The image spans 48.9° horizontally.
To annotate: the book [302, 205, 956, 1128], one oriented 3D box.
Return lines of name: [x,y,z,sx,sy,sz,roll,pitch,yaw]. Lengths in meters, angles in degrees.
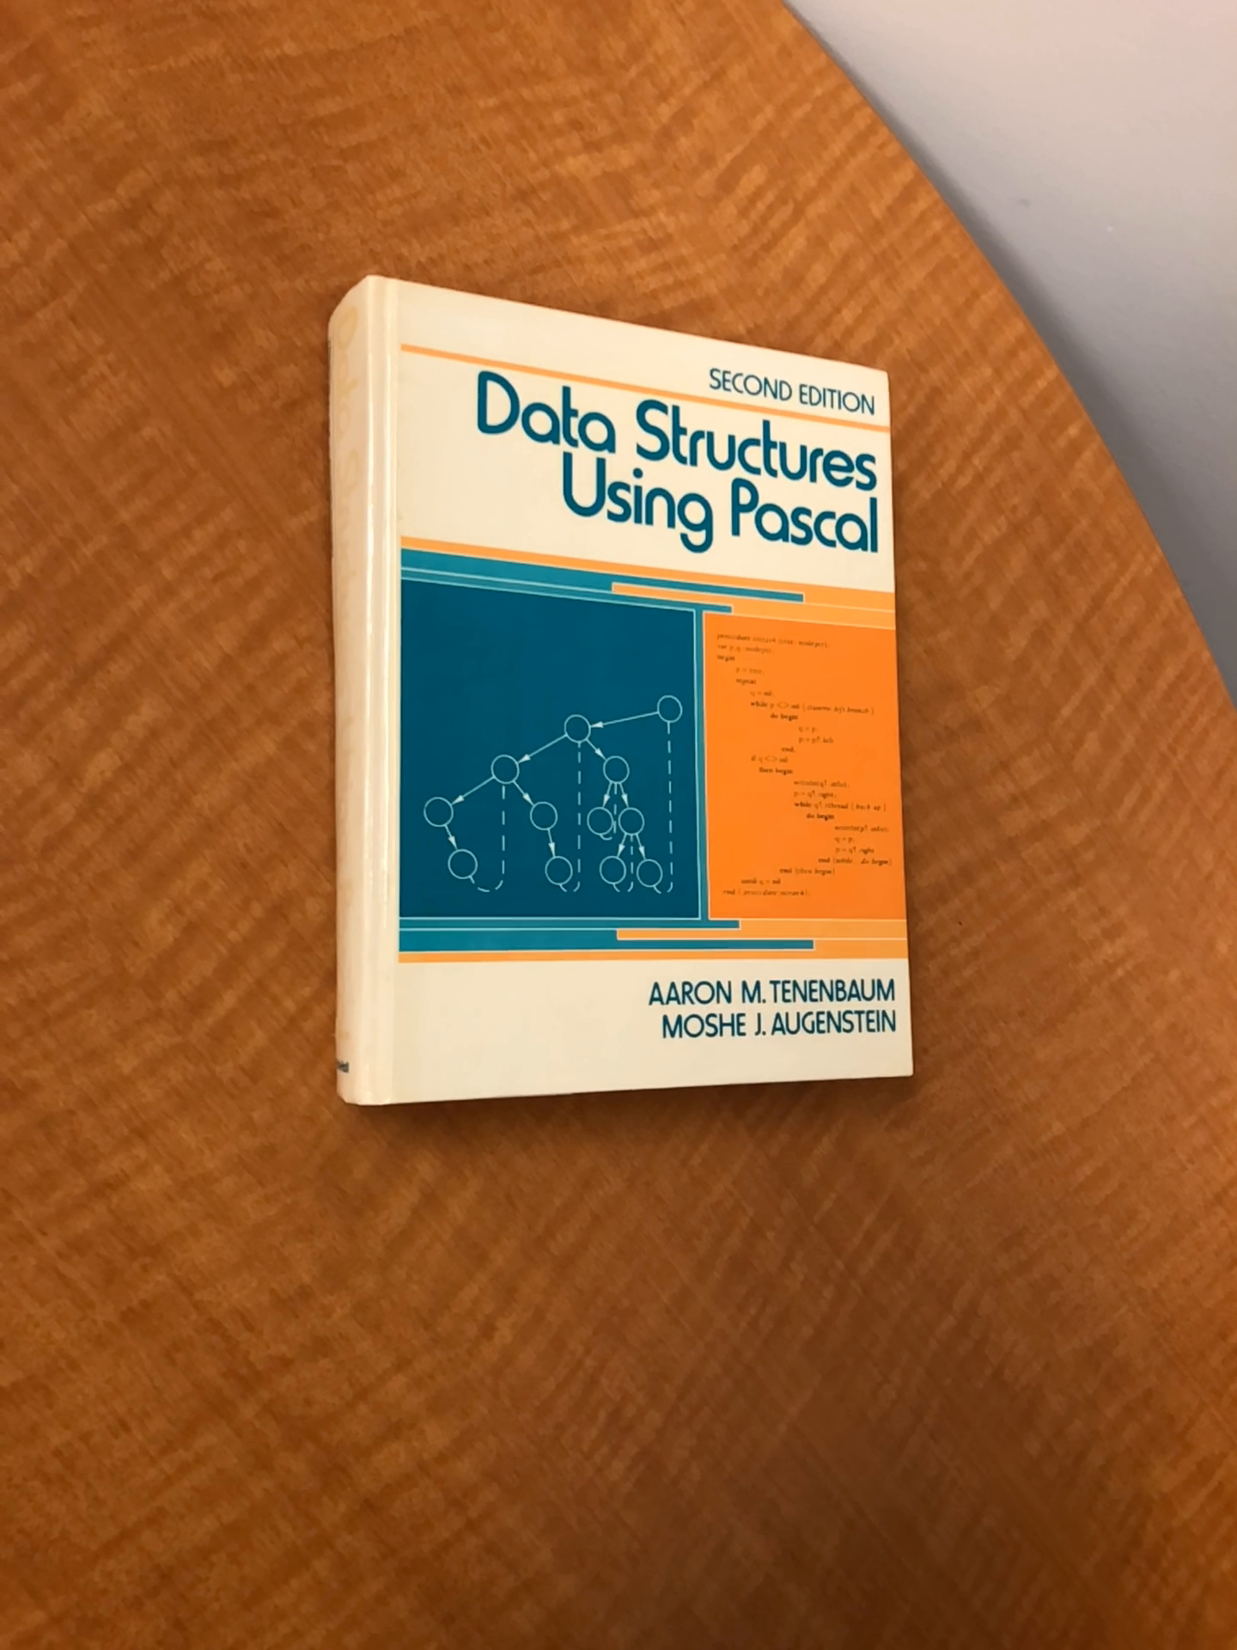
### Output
book: [0.004,-0.044,0.439,0.200,0.050,0.260,1,83,-23]
